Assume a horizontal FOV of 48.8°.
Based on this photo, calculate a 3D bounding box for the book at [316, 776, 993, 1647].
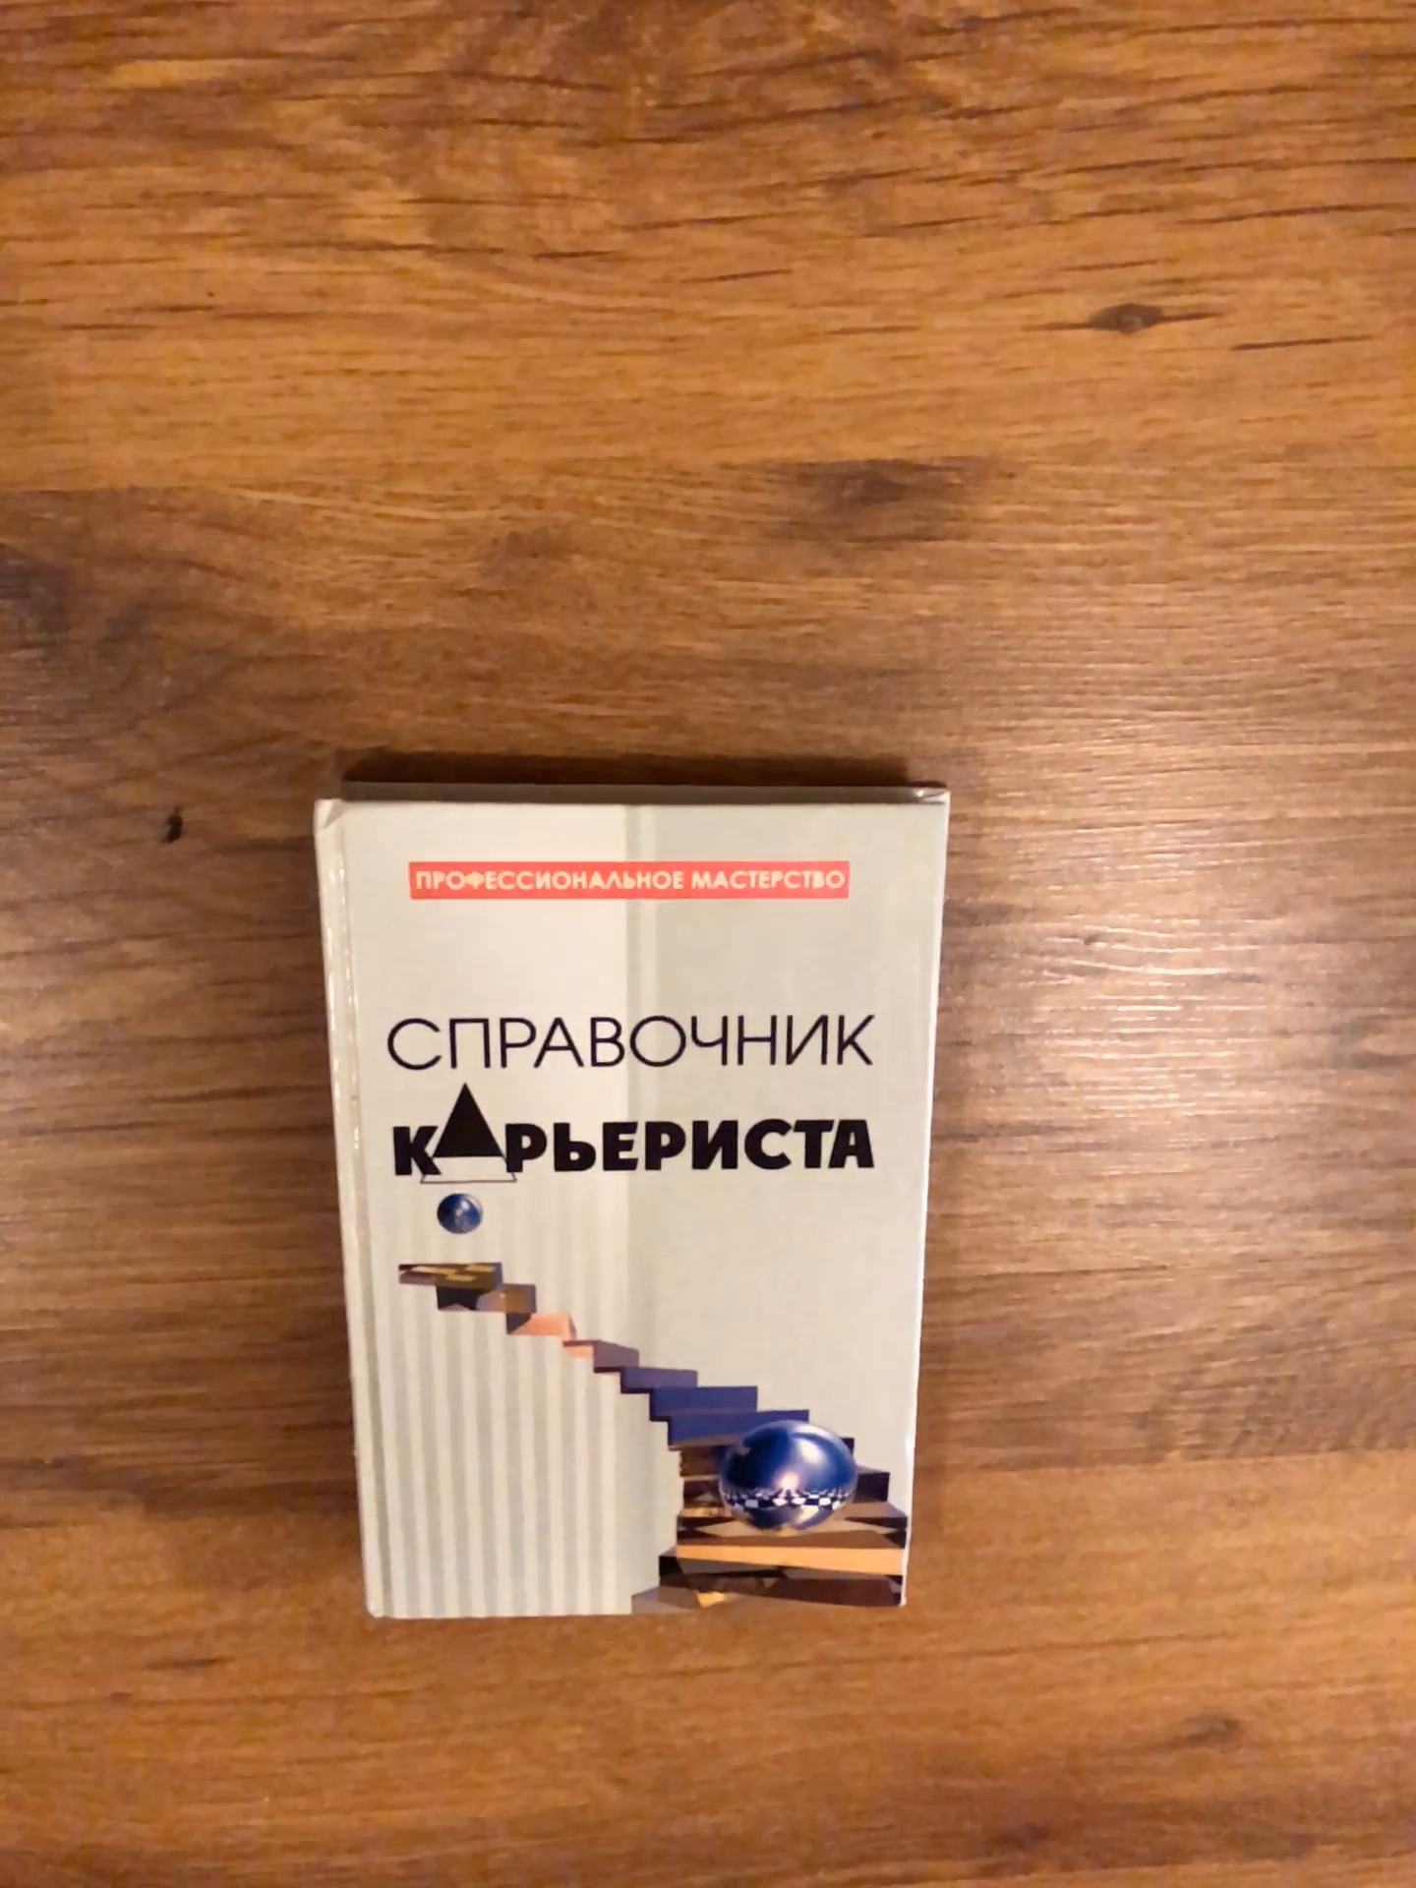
[{"bbox_3d":[-0.011,0.065,0.355,0.136,0.026,0.204,0,107,-2],"label":"book"}]
